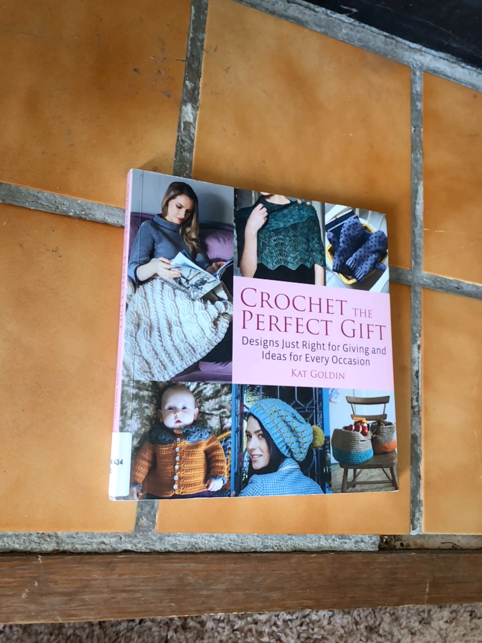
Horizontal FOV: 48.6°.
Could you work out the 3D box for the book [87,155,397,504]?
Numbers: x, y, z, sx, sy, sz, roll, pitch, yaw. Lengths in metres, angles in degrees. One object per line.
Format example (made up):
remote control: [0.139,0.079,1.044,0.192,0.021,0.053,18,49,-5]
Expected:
book: [0.011,0.009,0.381,0.218,0.020,0.221,5,78,-21]
